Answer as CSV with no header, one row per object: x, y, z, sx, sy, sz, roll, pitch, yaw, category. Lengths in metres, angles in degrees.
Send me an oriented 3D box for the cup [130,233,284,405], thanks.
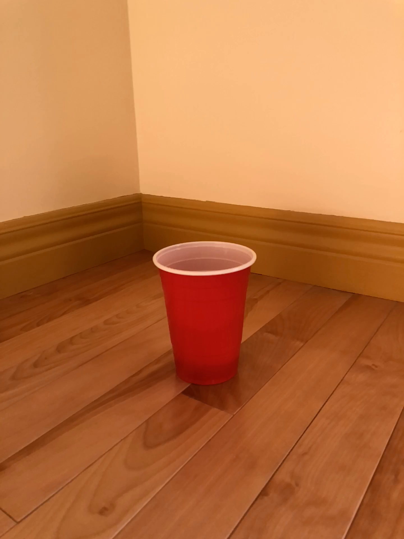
0.003,0.037,0.416,0.100,0.110,0.100,-2,18,1,cup
